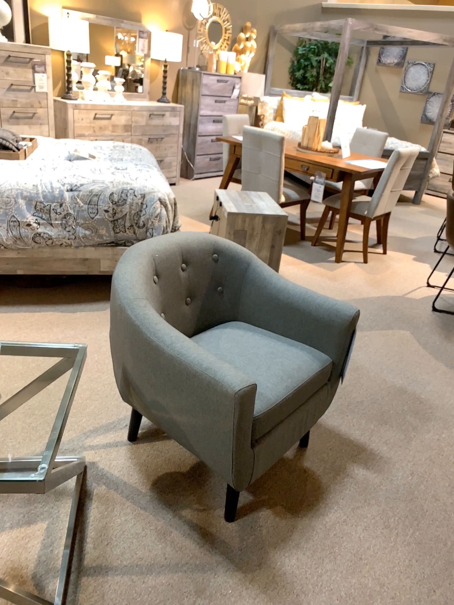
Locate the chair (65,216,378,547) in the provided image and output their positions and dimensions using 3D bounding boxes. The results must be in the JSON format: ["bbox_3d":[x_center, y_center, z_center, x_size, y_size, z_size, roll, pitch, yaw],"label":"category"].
[{"bbox_3d":[-0.037,0.180,1.710,0.743,0.702,0.749,26,32,33],"label":"chair"}]
